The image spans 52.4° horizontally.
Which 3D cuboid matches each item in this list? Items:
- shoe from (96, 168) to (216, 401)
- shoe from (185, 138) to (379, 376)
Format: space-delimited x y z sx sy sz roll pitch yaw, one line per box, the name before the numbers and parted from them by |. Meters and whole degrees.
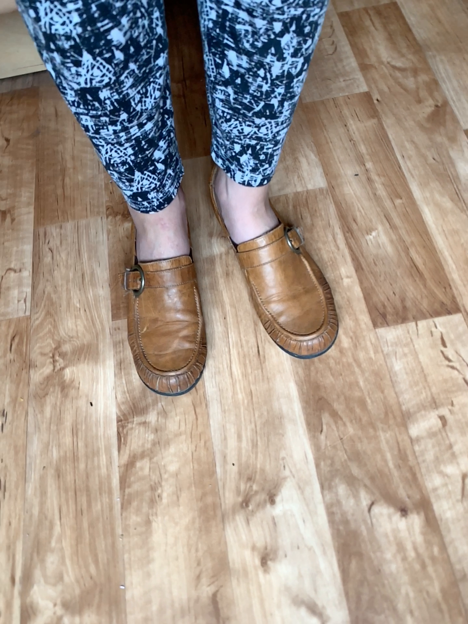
shoe | -0.066 -0.027 0.424 0.080 0.070 0.190 -6 63 3
shoe | 0.035 -0.053 0.424 0.080 0.070 0.190 -24 64 -7
